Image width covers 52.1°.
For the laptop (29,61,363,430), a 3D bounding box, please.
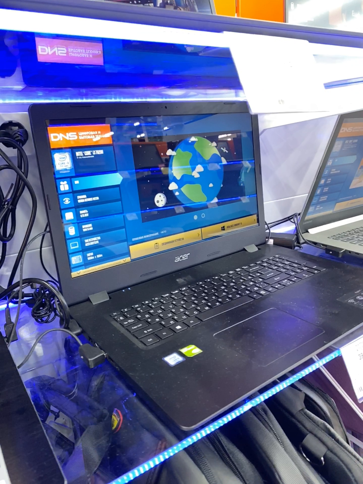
[{"bbox_3d":[0.076,-0.057,0.507,0.422,0.273,0.328,-14,20,-33],"label":"laptop"}]
